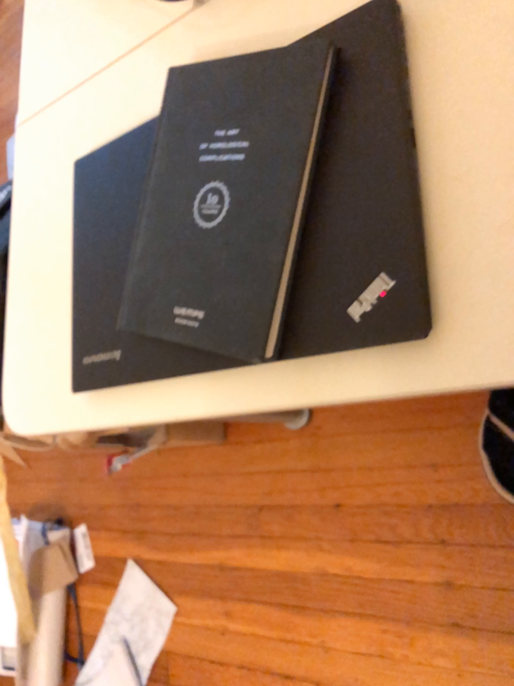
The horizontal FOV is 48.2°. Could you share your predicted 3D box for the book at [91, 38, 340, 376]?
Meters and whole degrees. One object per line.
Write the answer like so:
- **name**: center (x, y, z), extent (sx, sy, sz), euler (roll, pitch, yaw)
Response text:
- **book**: center (-0.040, -0.100, 0.435), extent (0.170, 0.030, 0.220), euler (11, 89, 39)
